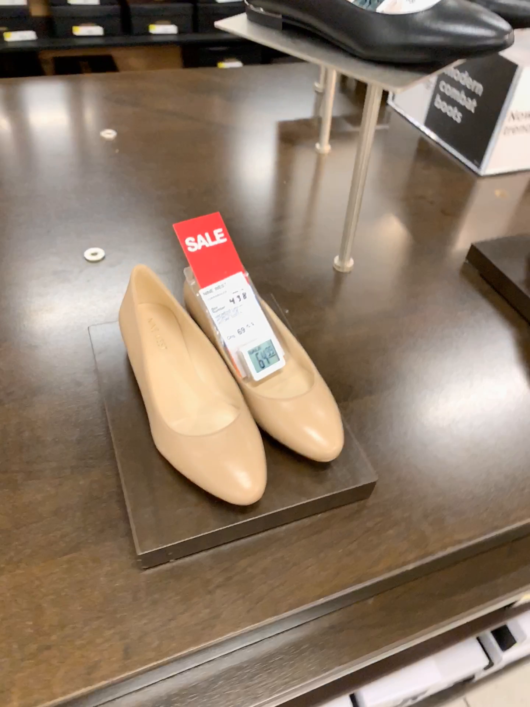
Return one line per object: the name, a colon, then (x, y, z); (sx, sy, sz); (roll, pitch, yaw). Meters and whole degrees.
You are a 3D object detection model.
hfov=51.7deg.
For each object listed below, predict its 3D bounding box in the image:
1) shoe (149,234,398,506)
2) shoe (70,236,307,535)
shoe: (-0.007, 0.000, 0.501); (0.090, 0.080, 0.251); (-23, 53, -26)
shoe: (-0.076, 0.010, 0.464); (0.090, 0.080, 0.251); (-20, 52, -23)
